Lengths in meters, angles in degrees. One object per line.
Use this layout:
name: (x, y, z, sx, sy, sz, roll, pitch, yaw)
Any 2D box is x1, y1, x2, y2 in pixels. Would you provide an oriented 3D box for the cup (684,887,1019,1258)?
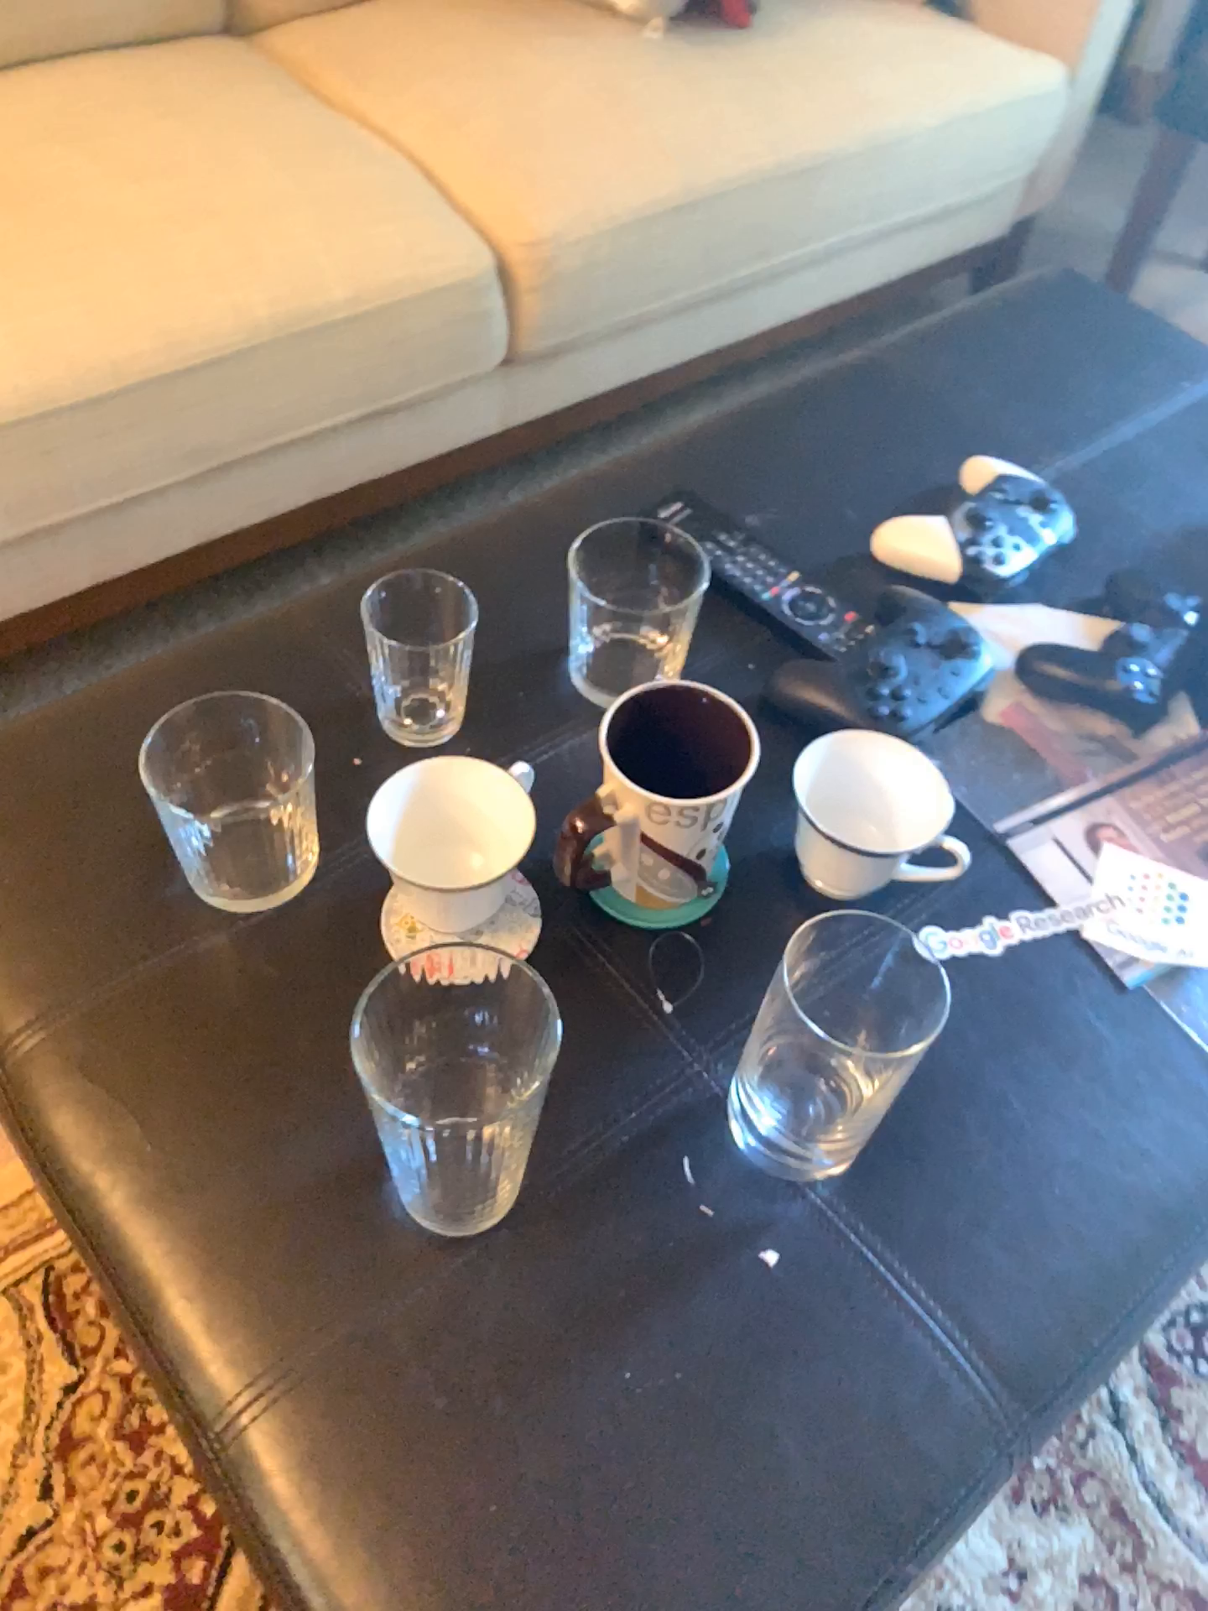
cup: (0.112, 0.131, 0.596, 0.090, 0.139, 0.090, 3, 53, -4)

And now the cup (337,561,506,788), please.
cup: (-0.112, -0.081, 0.774, 0.070, 0.100, 0.070, 3, 53, -4)

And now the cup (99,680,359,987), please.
cup: (-0.205, 0.017, 0.698, 0.090, 0.120, 0.090, 3, 53, -4)

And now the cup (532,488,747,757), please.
cup: (0.020, -0.118, 0.813, 0.090, 0.120, 0.090, 3, 53, -4)

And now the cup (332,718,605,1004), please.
cup: (-0.073, 0.029, 0.678, 0.090, 0.070, 0.110, 39, 58, 21)

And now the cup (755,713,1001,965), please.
cup: (0.160, 0.019, 0.729, 0.110, 0.080, 0.090, 18, 53, 7)

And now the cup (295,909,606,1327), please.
cup: (-0.071, 0.153, 0.584, 0.090, 0.189, 0.090, 3, 53, -4)

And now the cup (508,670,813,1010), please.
cup: (0.027, 0.019, 0.698, 0.130, 0.120, 0.090, -31, 62, -26)
